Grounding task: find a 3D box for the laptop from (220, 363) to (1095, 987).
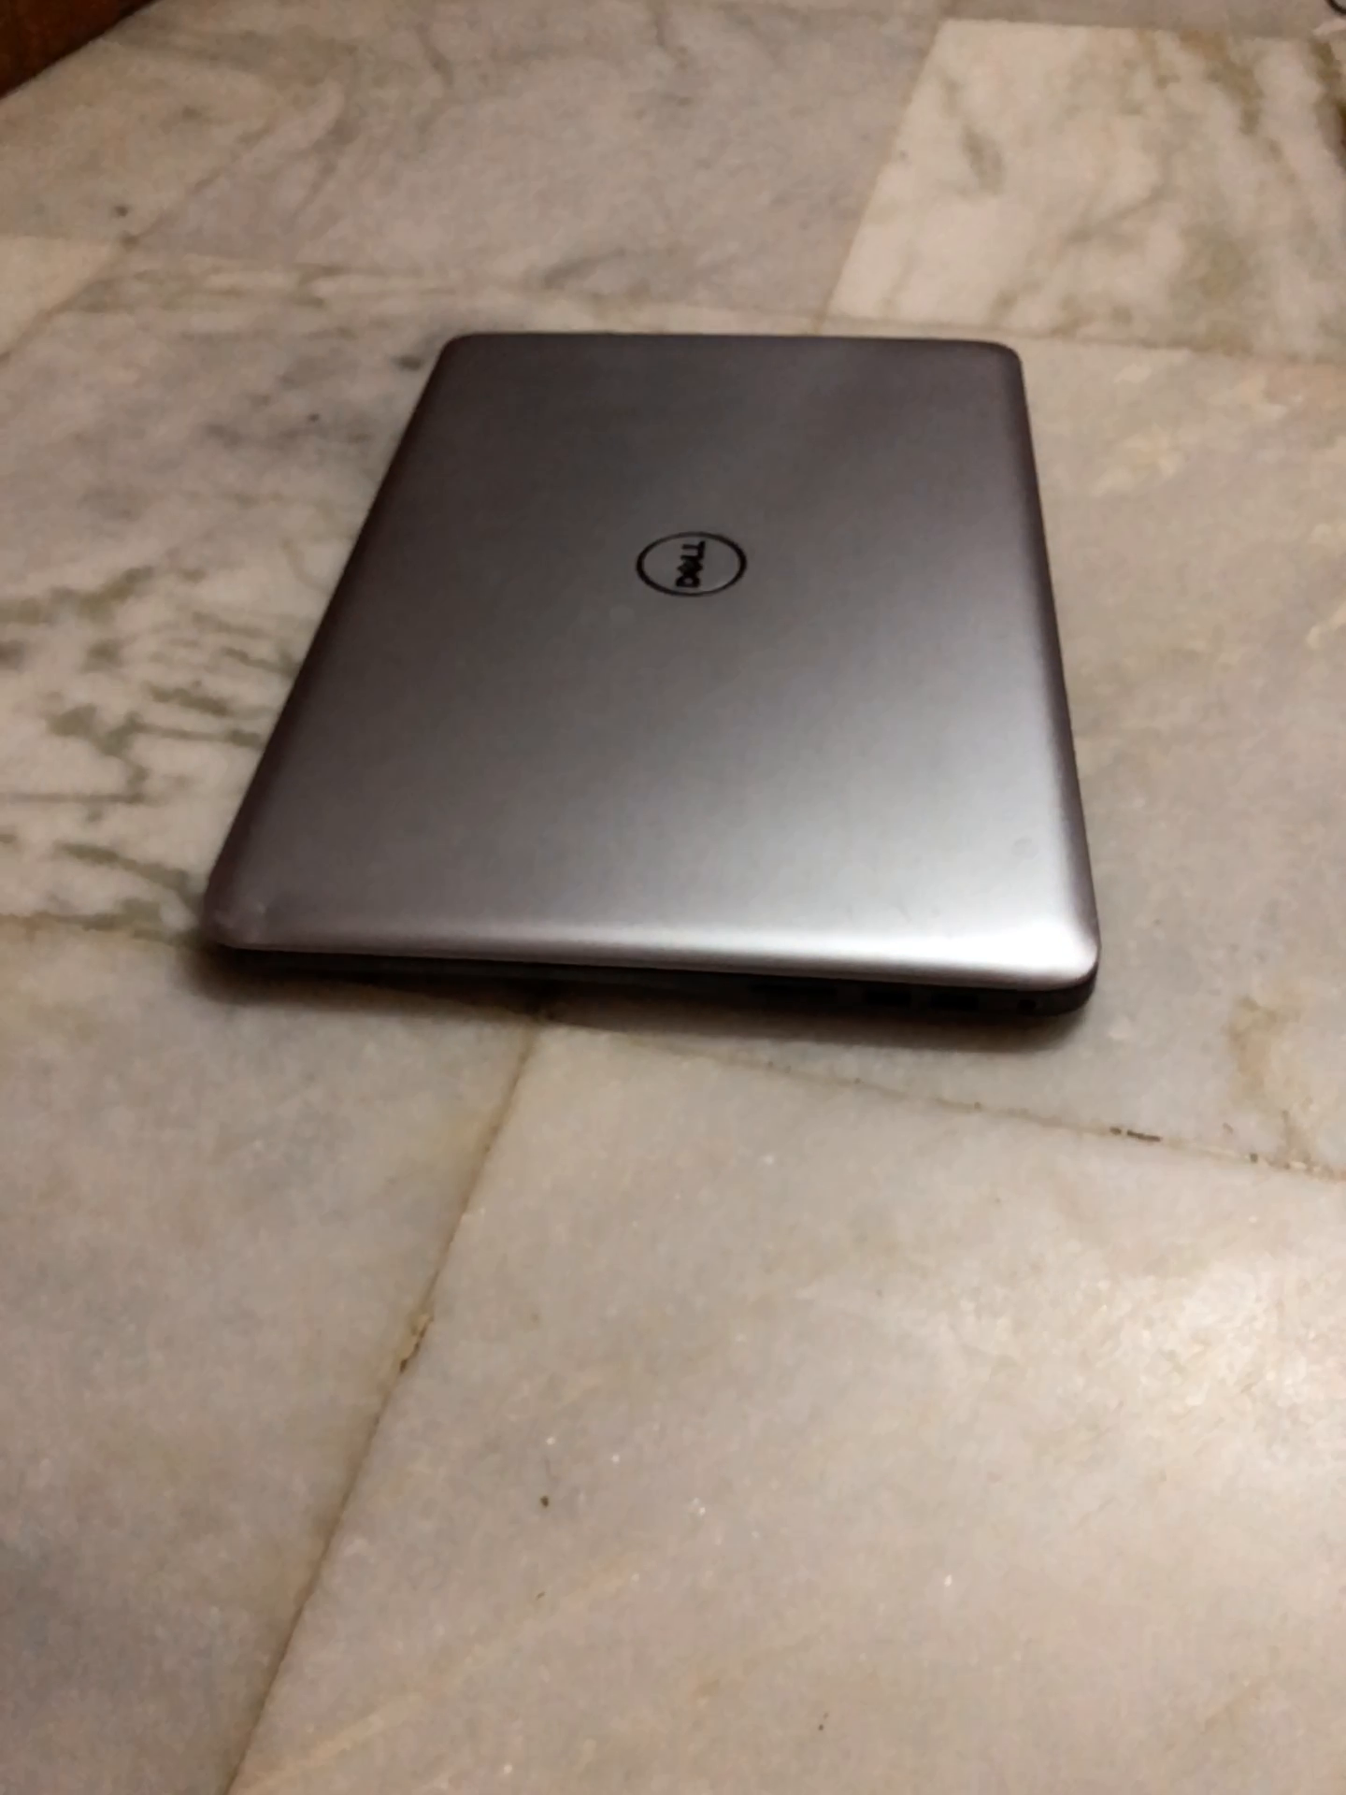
[{"bbox_3d":[0.009,-0.106,0.535,0.244,0.002,0.347,3,46,5],"label":"laptop"}]
